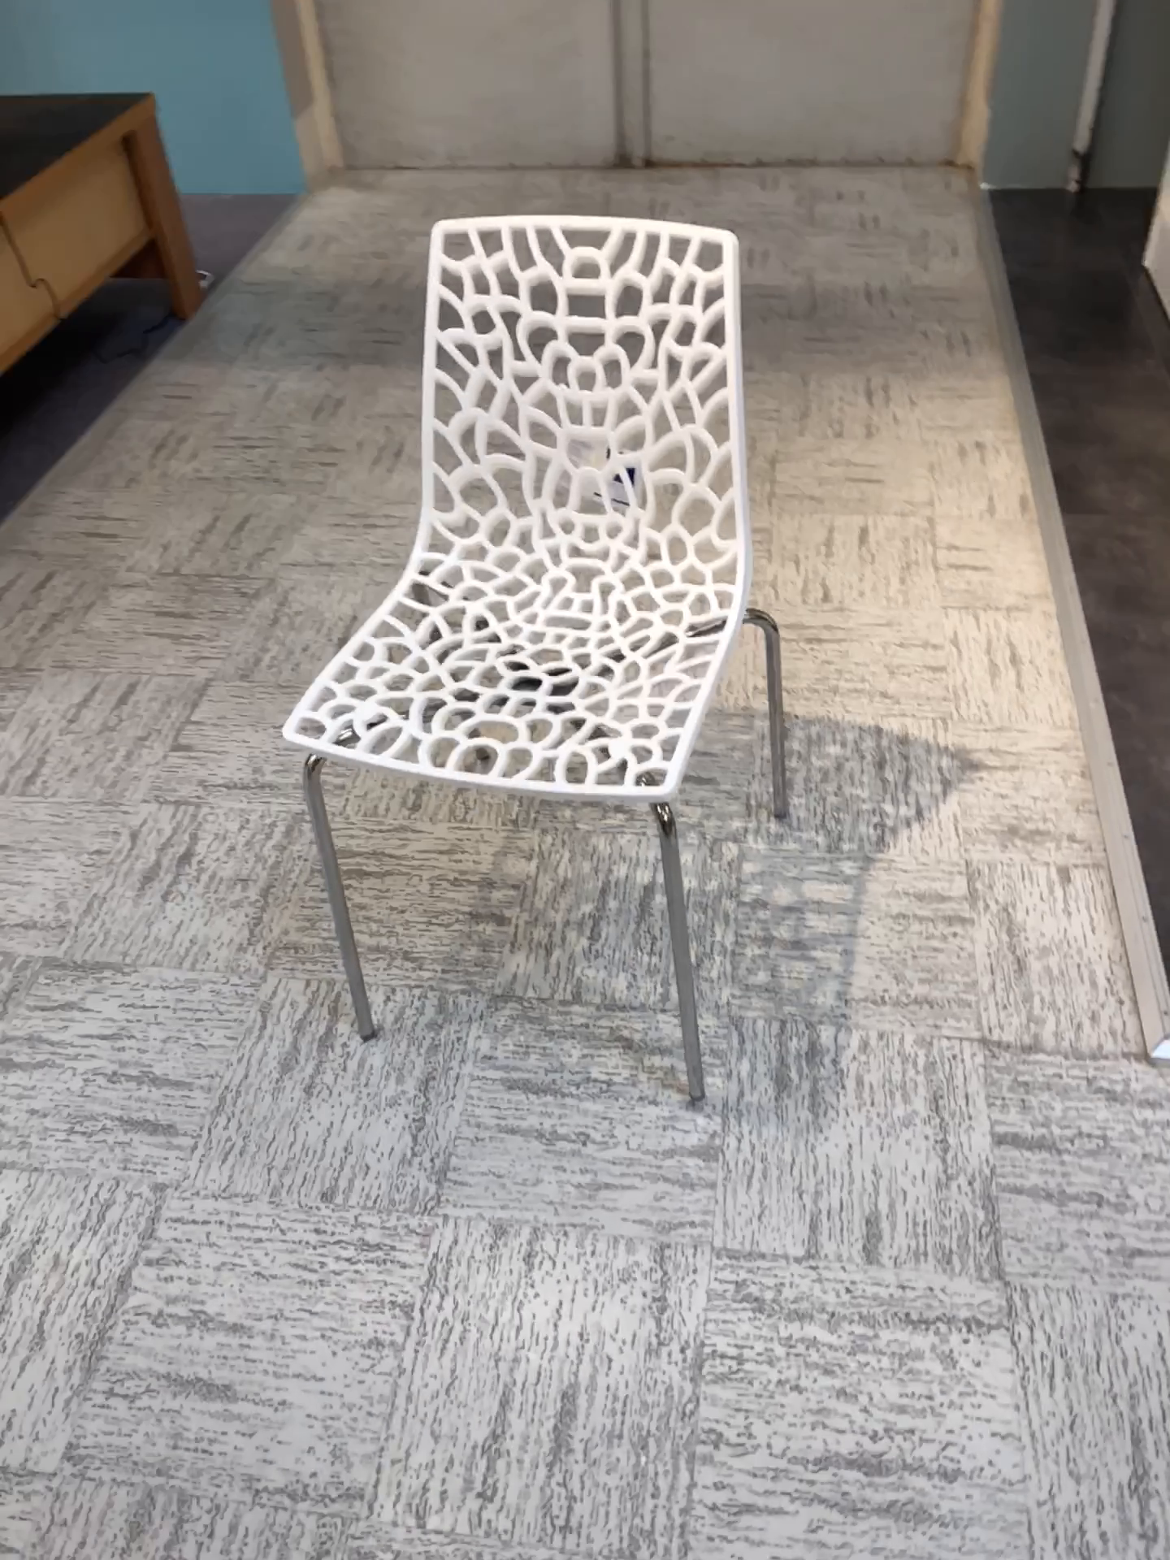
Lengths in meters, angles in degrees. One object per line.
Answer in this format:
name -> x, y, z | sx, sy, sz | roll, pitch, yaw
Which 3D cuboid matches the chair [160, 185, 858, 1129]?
chair -> -0.010, -0.120, 1.344 | 0.450, 0.785, 0.513 | 9, 43, 14
